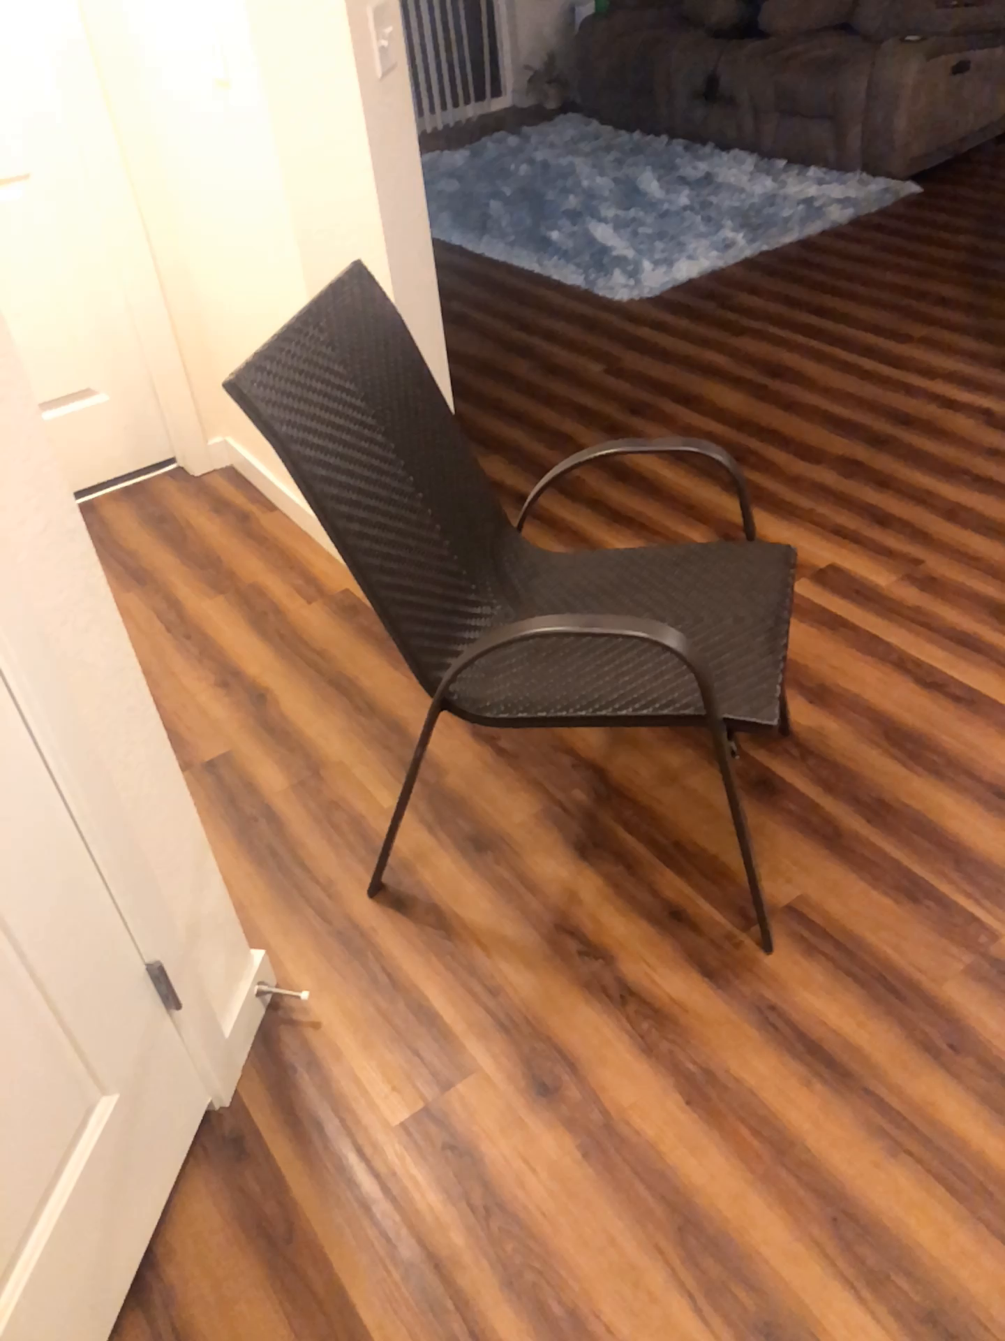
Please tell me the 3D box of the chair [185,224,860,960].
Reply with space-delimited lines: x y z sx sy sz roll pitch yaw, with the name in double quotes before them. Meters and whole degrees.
"chair" 0.111 -0.129 1.657 0.747 0.853 0.600 4 38 15
